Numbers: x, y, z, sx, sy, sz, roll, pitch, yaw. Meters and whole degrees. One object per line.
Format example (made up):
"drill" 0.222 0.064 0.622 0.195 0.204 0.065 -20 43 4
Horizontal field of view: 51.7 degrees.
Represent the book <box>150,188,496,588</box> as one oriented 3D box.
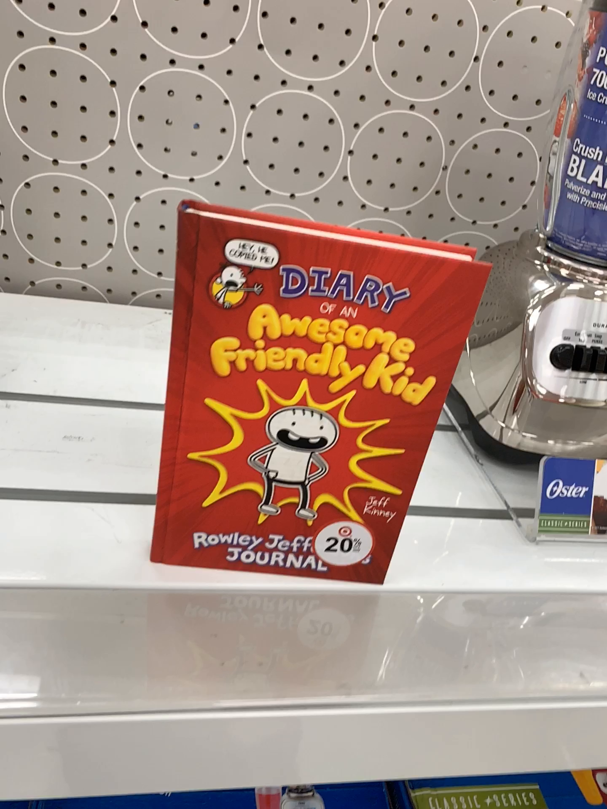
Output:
"book" -0.002 0.007 0.333 0.140 0.209 0.030 7 30 -9
